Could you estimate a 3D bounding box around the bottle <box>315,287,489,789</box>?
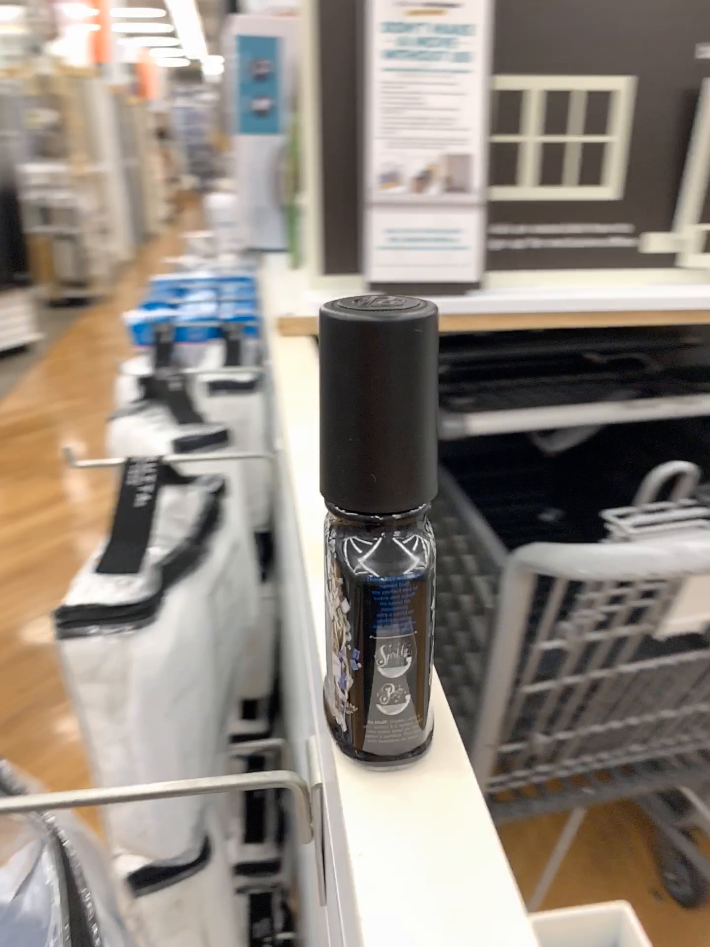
[{"bbox_3d":[0.009,0.017,0.199,0.032,0.123,0.050,-3,23,-7],"label":"bottle"}]
